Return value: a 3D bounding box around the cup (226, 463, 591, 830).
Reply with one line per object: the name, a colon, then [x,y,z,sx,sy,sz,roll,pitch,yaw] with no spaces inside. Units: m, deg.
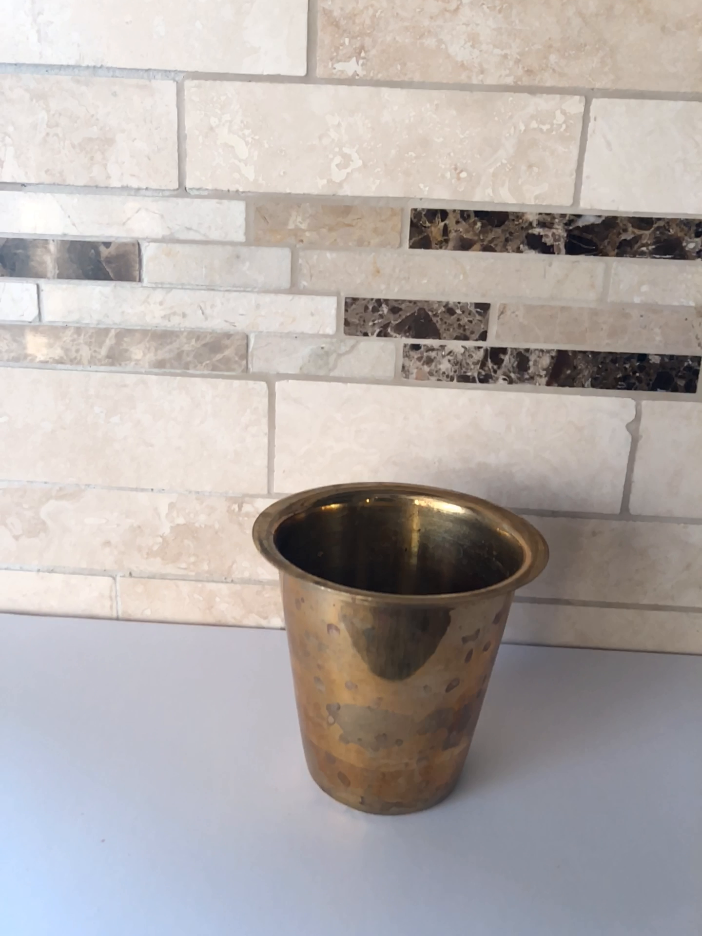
cup: [0.011,0.045,0.225,0.083,0.071,0.075,2,18,-2]
